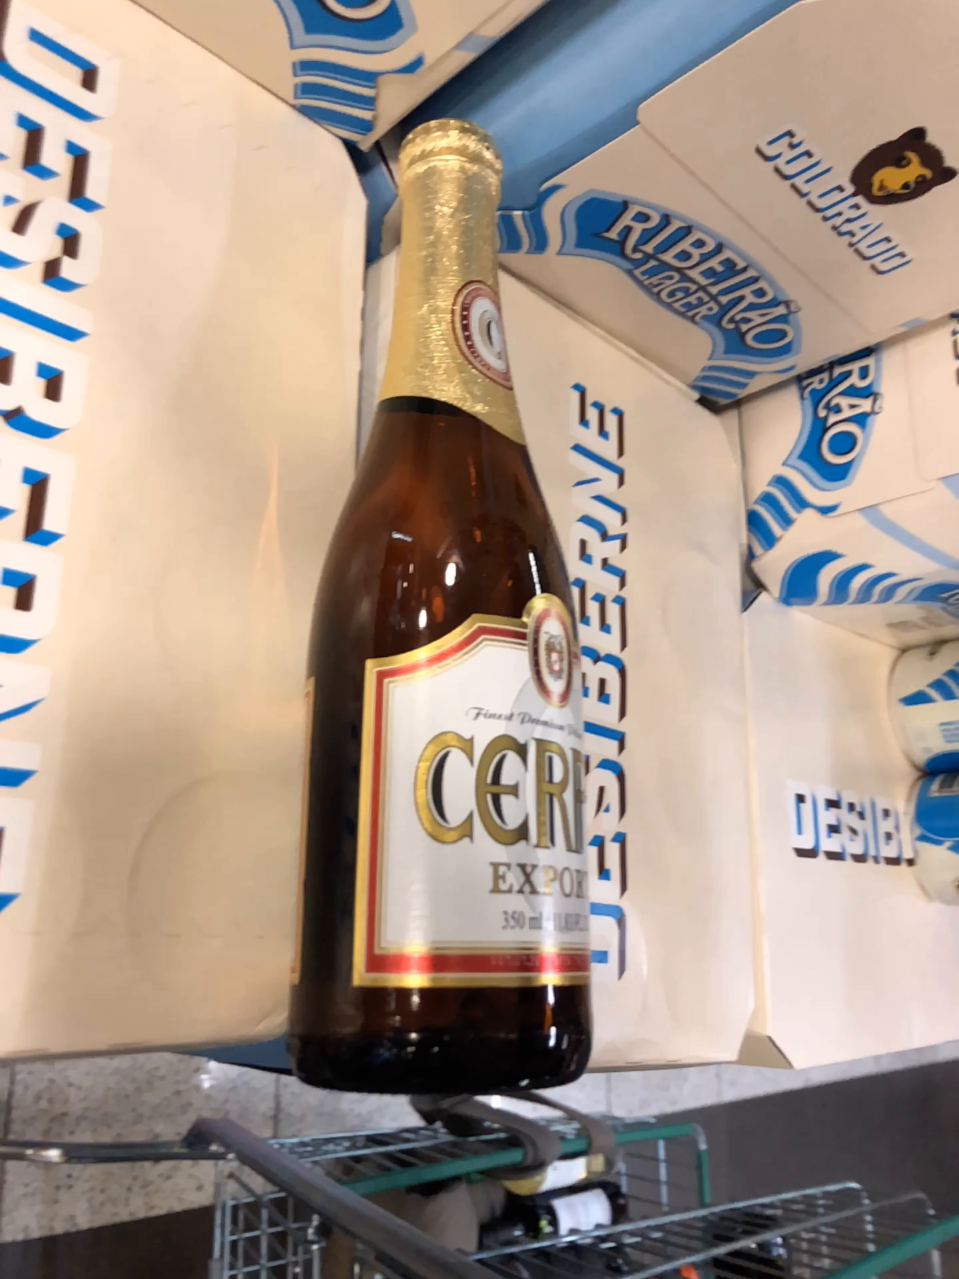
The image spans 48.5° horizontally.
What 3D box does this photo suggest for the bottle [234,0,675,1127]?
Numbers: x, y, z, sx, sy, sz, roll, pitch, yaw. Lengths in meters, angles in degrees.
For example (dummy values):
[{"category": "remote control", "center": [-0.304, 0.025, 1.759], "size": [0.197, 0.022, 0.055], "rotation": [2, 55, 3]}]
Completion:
[{"category": "bottle", "center": [-0.003, -0.024, 0.252], "size": [0.070, 0.060, 0.240], "rotation": [14, 70, -43]}]
